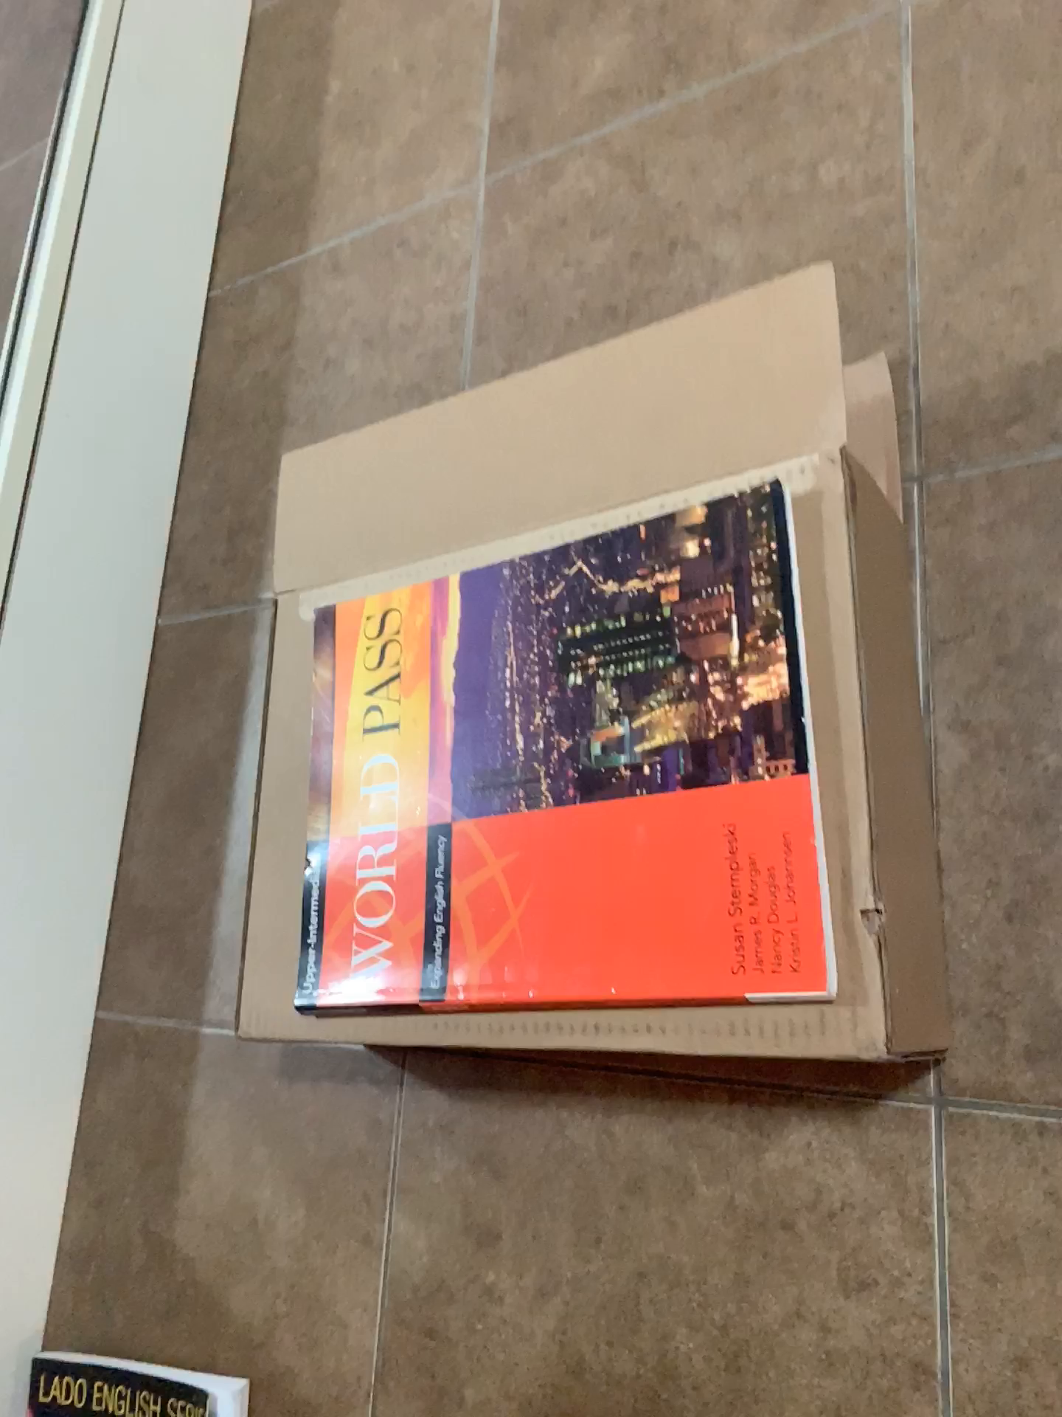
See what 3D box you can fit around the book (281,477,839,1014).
[{"bbox_3d":[-0.004,0.029,0.499,0.271,0.018,0.211,-11,70,31],"label":"book"}]
